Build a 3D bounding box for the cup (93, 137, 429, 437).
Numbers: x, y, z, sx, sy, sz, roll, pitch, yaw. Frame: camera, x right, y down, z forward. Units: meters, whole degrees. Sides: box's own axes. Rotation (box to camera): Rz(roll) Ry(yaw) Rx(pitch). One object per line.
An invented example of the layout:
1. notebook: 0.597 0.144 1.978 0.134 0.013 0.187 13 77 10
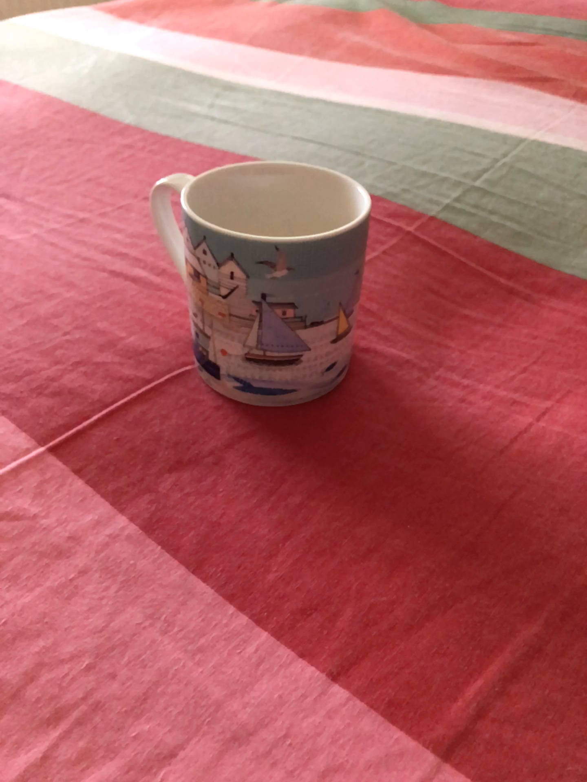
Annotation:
1. cup: -0.016 -0.059 0.320 0.120 0.080 0.094 31 47 32
